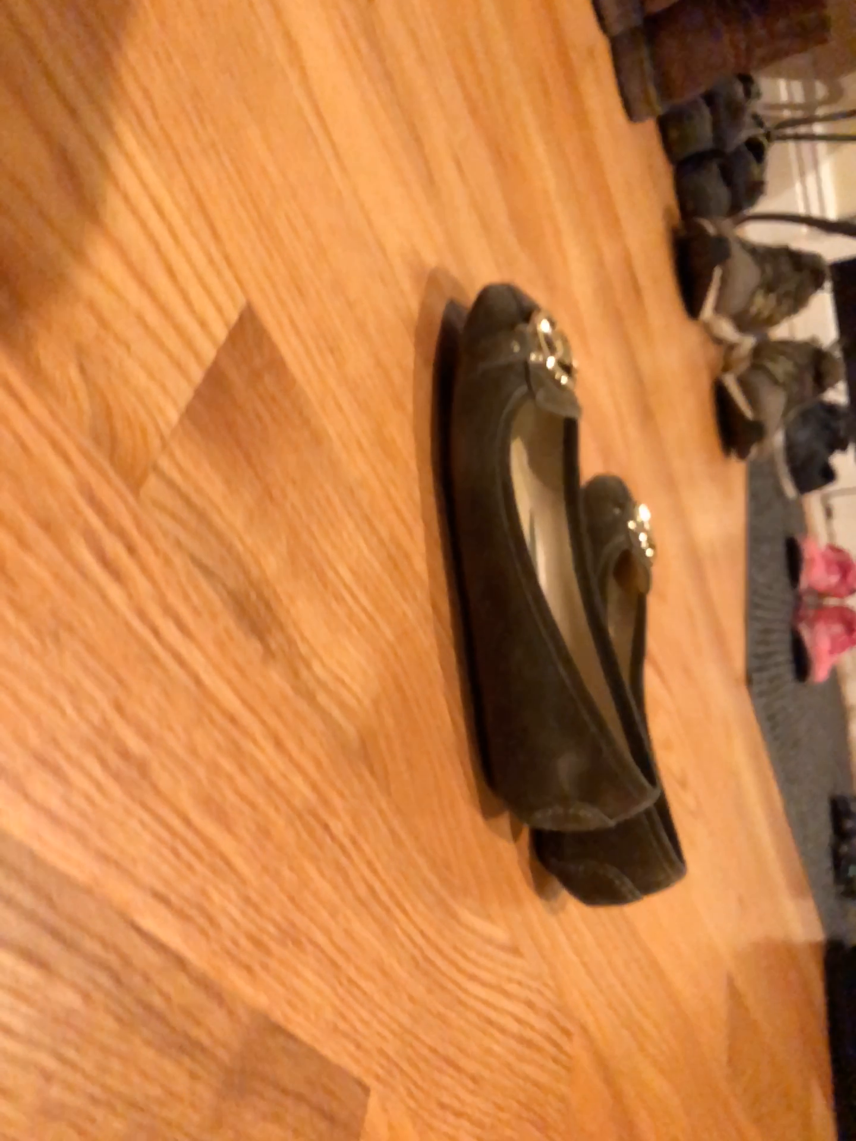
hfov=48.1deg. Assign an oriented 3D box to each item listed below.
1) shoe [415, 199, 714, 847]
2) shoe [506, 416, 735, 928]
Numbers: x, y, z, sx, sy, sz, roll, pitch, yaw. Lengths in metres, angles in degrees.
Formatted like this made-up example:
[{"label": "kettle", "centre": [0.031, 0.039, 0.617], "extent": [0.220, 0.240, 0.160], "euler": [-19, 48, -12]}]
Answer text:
[{"label": "shoe", "centre": [0.060, -0.015, 0.411], "extent": [0.091, 0.079, 0.242], "euler": [7, 77, -64]}, {"label": "shoe", "centre": [0.106, 0.047, 0.495], "extent": [0.091, 0.079, 0.240], "euler": [51, 40, -47]}]
